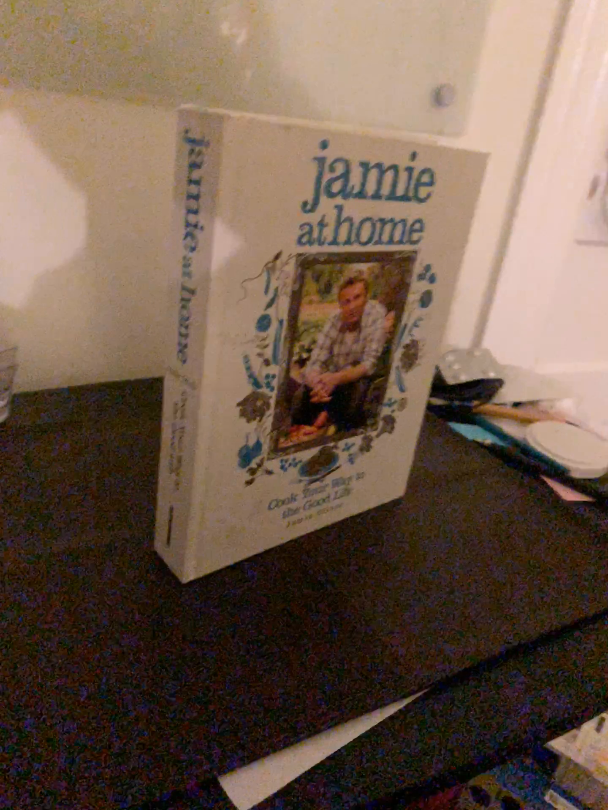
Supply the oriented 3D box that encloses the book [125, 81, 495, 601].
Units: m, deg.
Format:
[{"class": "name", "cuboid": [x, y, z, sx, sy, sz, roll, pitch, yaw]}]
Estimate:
[{"class": "book", "cuboid": [0.002, -0.035, 0.391, 0.210, 0.268, 0.050, -12, 32, -38]}]
